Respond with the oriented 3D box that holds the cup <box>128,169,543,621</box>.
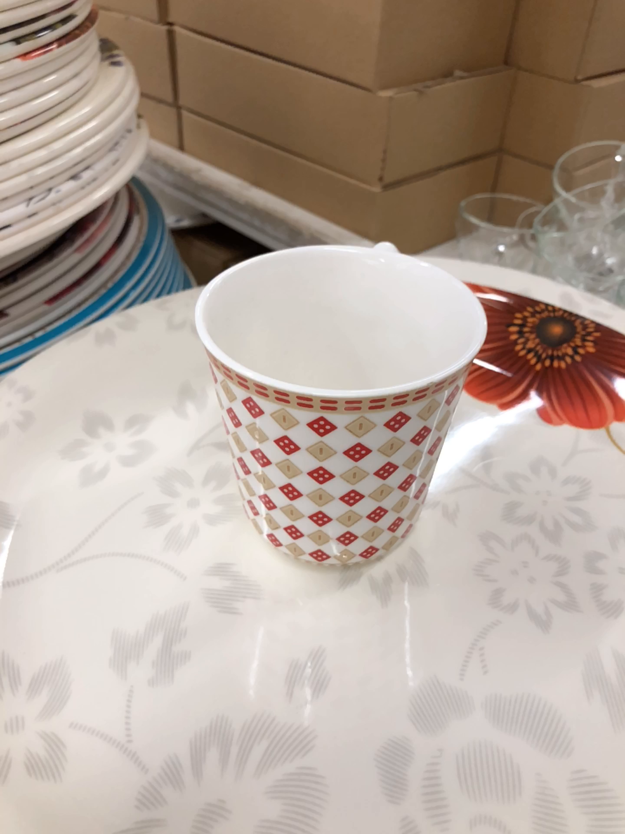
[{"bbox_3d":[0.014,-0.017,0.235,0.080,0.079,0.121,20,42,20],"label":"cup"}]
